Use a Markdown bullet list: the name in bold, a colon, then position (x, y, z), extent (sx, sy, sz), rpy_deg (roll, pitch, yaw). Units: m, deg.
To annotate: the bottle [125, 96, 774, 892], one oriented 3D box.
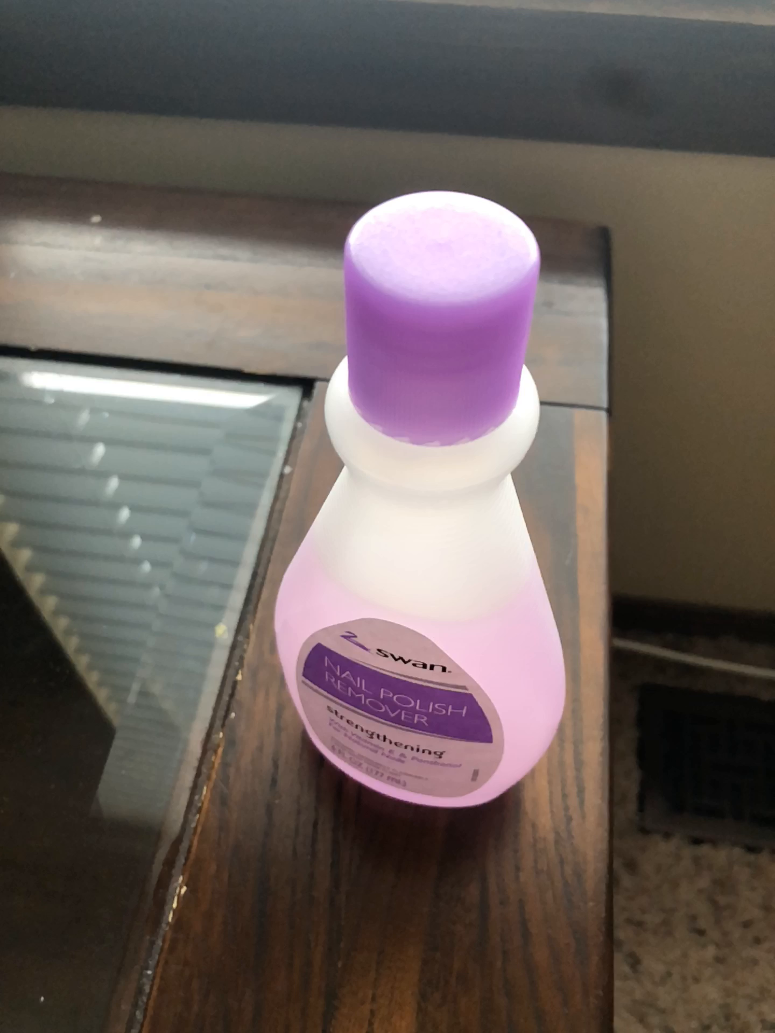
- **bottle**: position (0.015, 0.016, 0.180), extent (0.080, 0.170, 0.050), rpy_deg (18, 56, 14)
